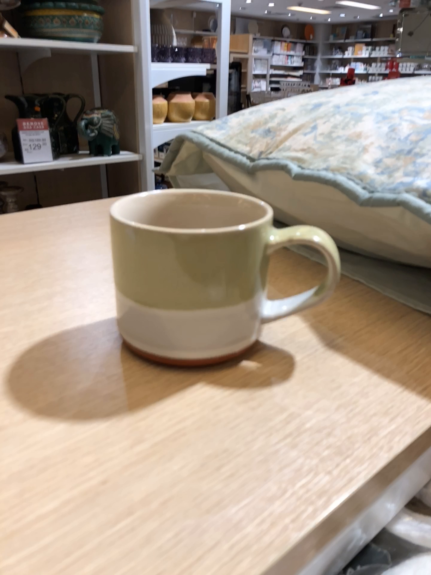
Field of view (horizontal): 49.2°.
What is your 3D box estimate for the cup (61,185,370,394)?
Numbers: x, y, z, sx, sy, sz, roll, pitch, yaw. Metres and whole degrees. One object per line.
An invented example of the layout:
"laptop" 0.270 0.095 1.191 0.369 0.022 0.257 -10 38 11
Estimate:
"cup" 0.002 -0.007 0.274 0.140 0.079 0.101 3 24 5
